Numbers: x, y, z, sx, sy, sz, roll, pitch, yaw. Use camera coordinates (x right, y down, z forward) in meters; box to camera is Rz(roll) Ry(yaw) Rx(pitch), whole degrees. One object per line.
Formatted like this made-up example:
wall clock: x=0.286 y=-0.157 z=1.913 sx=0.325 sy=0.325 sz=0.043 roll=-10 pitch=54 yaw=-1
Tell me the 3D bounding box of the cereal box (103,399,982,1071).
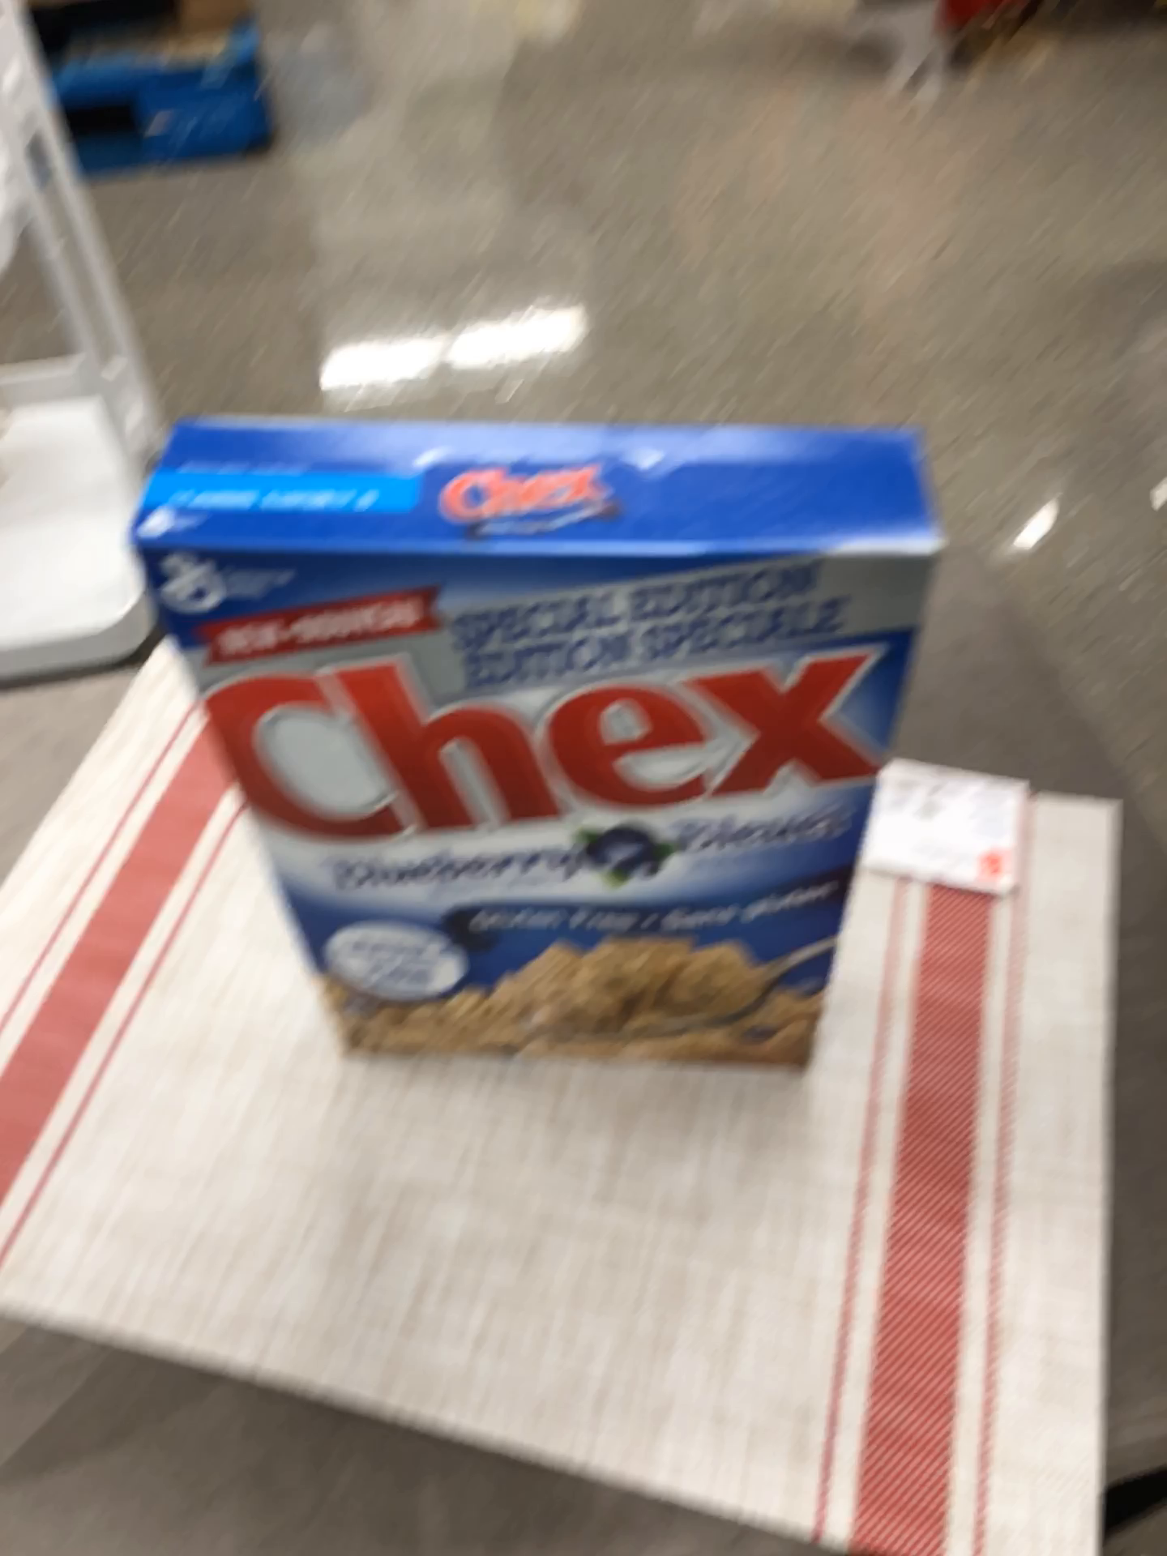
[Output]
cereal box: x=-0.007 y=0.007 z=0.407 sx=0.200 sy=0.259 sz=0.050 roll=2 pitch=51 yaw=3
